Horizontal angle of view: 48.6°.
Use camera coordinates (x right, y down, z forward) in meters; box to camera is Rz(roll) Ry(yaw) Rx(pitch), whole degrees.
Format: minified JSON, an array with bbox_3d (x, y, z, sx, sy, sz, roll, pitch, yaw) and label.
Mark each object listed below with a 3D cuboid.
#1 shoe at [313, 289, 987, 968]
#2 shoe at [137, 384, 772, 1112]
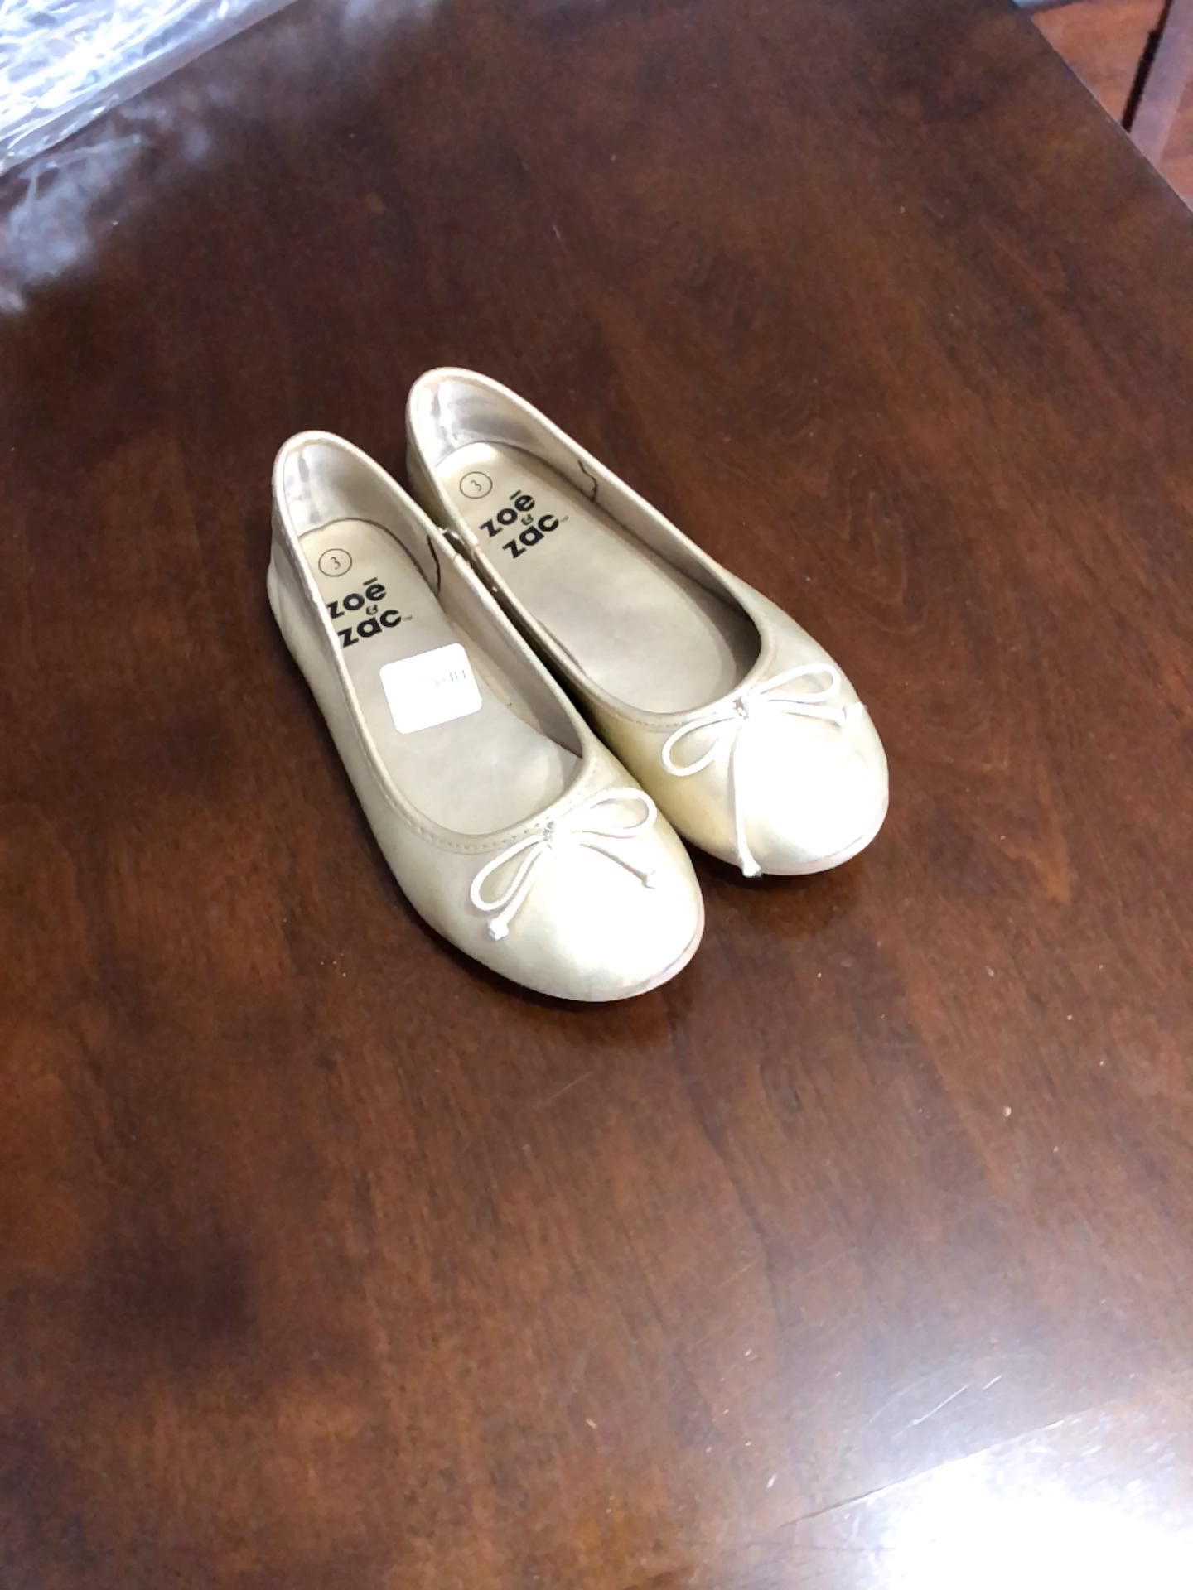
[{"bbox_3d":[0.010,-0.064,0.452,0.090,0.070,0.230,-35,65,-15],"label":"shoe"},{"bbox_3d":[-0.050,-0.023,0.426,0.080,0.070,0.230,-33,64,-14],"label":"shoe"}]
